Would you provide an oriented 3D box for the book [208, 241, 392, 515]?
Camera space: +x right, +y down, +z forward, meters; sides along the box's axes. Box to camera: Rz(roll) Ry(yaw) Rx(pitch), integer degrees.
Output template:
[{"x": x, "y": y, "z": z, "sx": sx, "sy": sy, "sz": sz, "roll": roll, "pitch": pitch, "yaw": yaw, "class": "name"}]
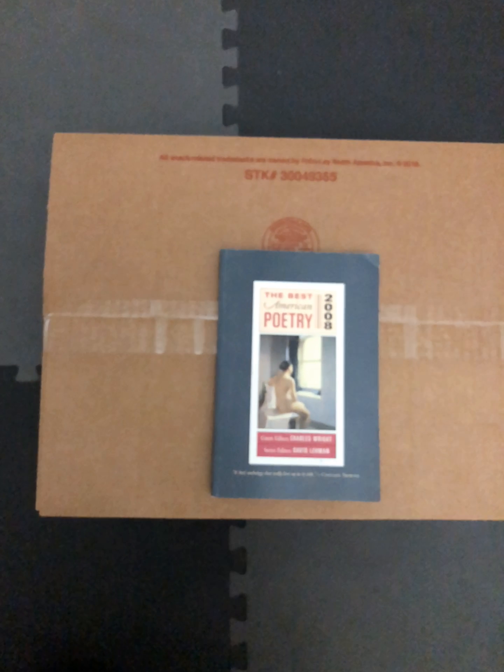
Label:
[{"x": 0.040, "y": 0.033, "z": 0.483, "sx": 0.150, "sy": 0.020, "sz": 0.230, "roll": 0, "pitch": 82, "yaw": -1, "class": "book"}]
